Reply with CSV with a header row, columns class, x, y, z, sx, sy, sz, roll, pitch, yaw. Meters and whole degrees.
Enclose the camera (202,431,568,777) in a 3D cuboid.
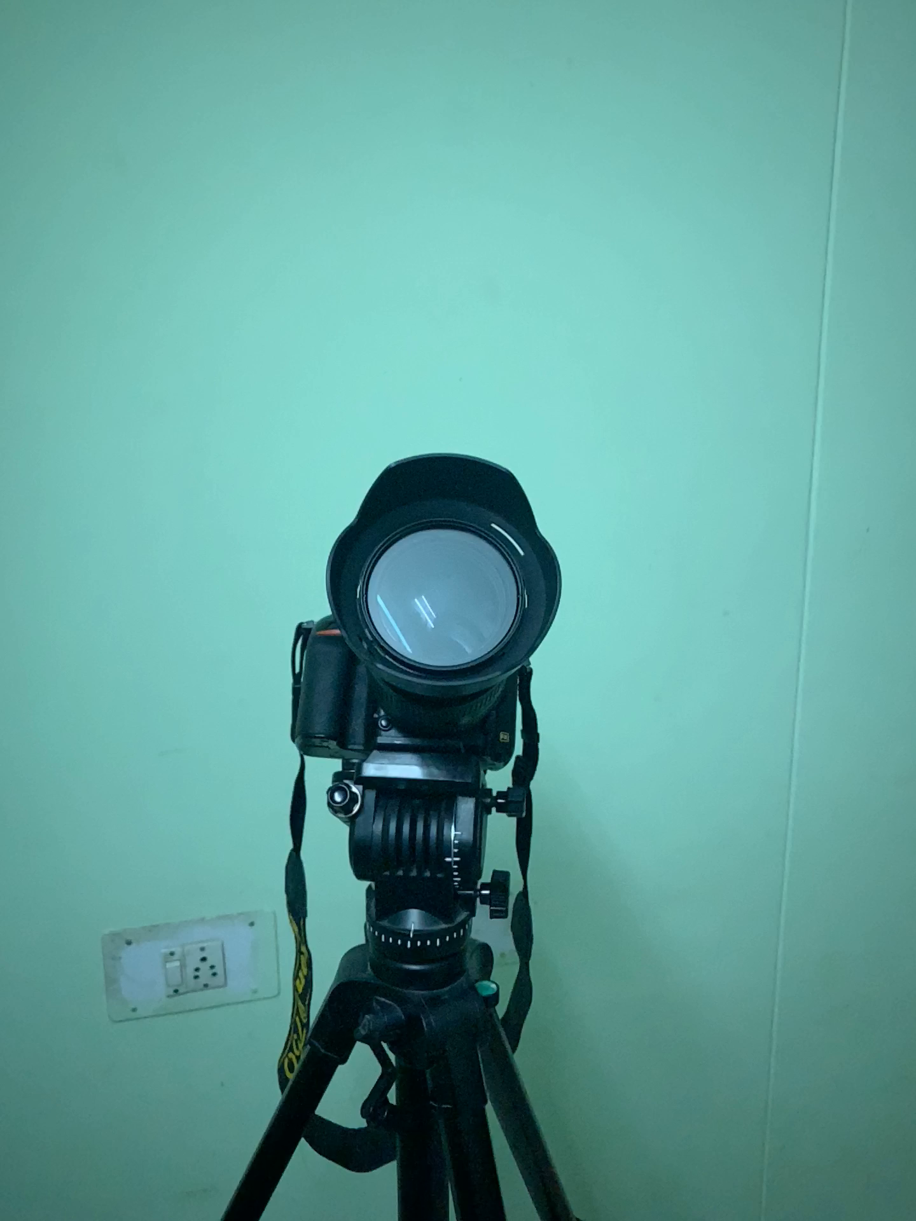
class,x,y,z,sx,sy,sz,roll,pitch,yaw
camera,-0.032,0.015,0.527,0.151,0.120,0.247,3,-17,-1
